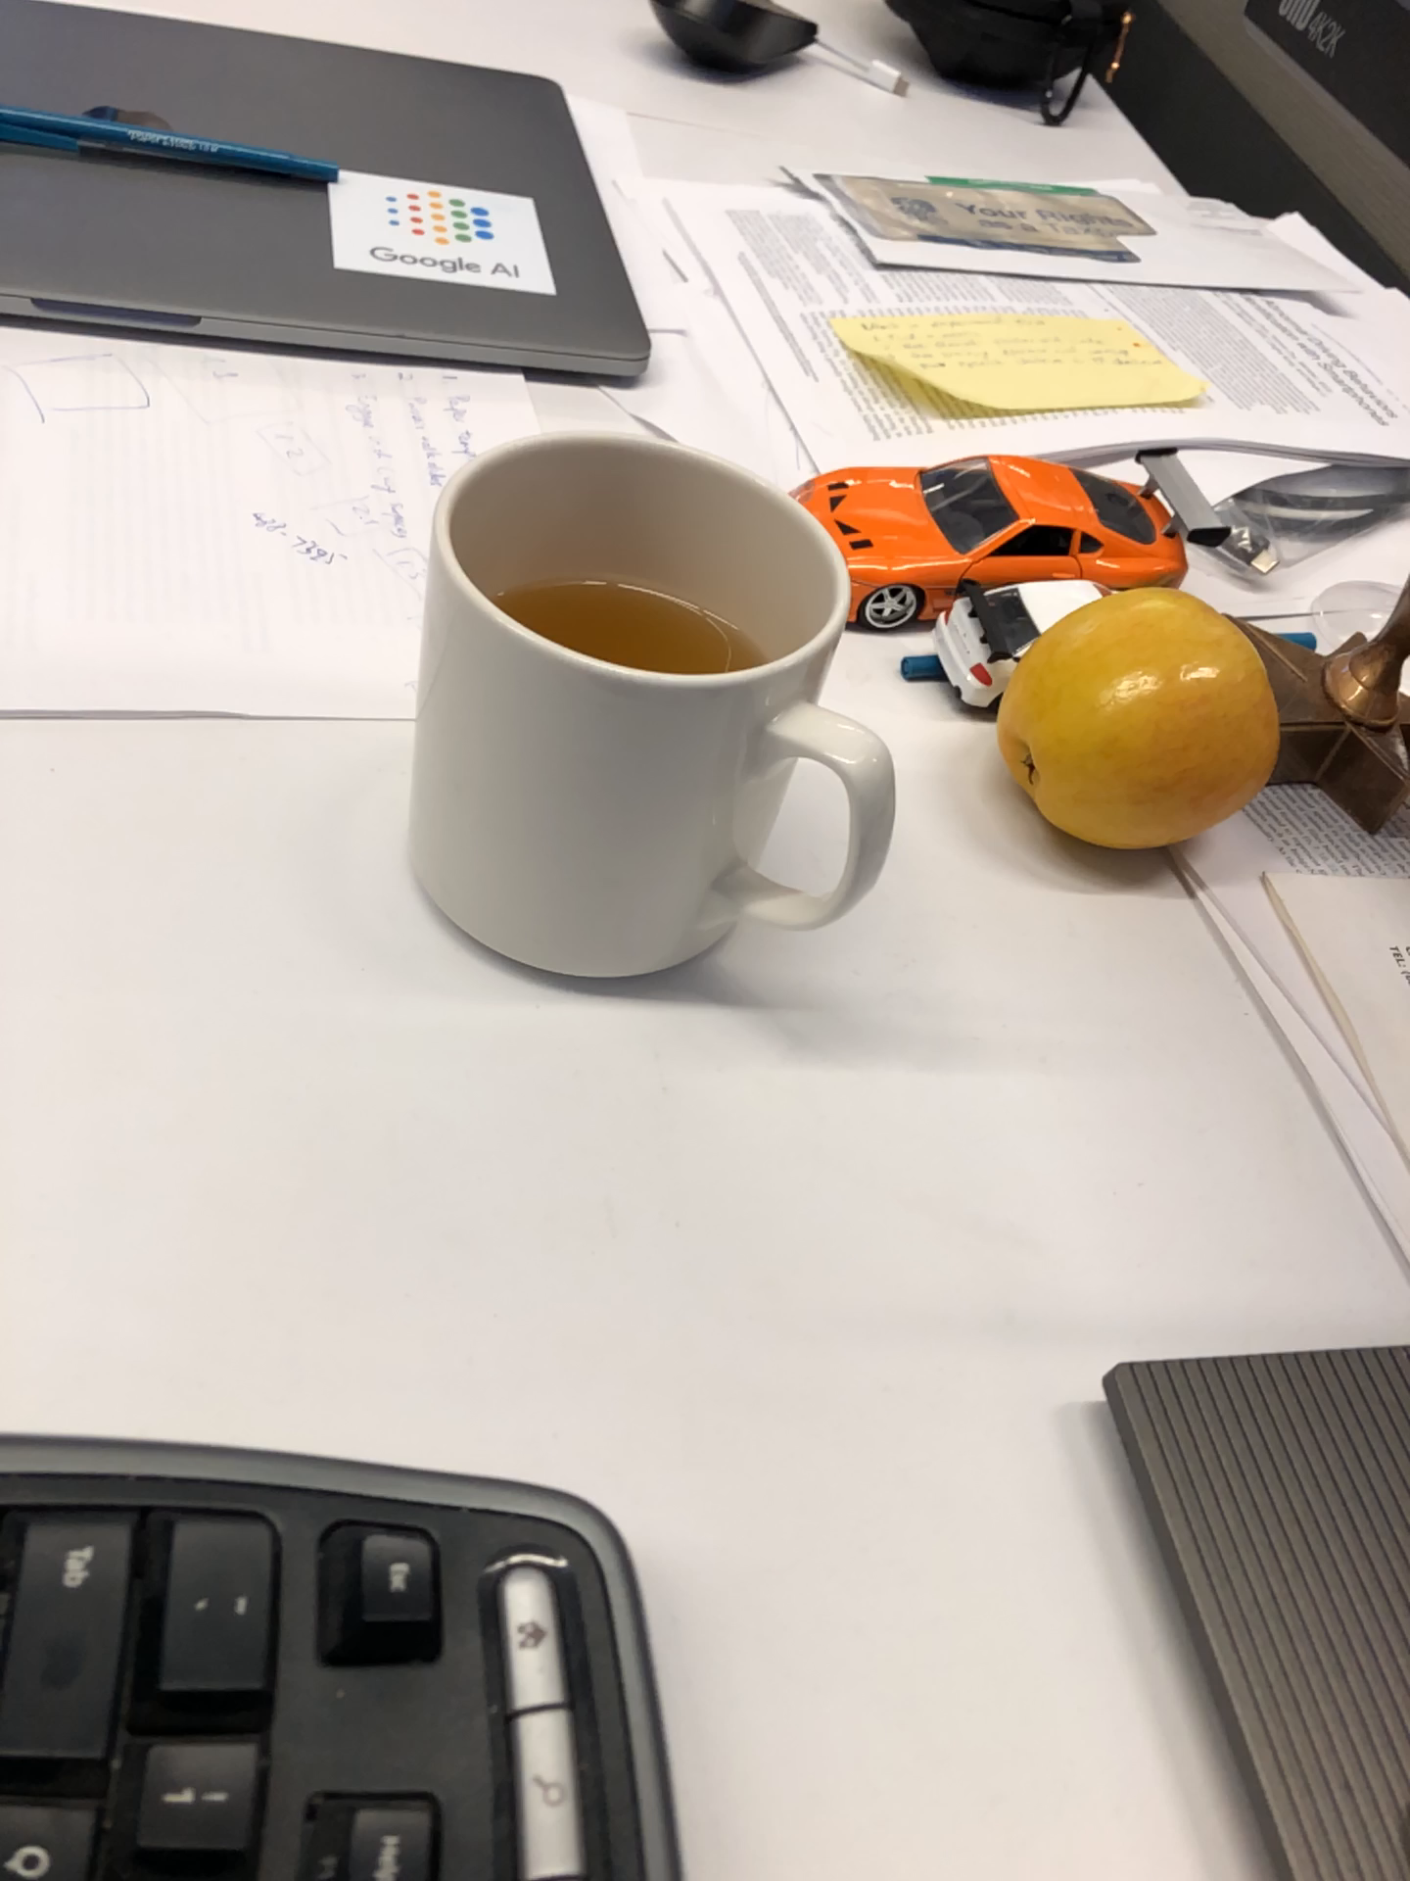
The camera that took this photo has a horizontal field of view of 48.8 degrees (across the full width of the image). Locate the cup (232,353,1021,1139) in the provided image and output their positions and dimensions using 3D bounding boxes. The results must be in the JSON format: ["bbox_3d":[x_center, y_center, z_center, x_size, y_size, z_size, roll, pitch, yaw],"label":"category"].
[{"bbox_3d":[-0.020,-0.042,0.308,0.120,0.080,0.080,35,48,17],"label":"cup"}]
